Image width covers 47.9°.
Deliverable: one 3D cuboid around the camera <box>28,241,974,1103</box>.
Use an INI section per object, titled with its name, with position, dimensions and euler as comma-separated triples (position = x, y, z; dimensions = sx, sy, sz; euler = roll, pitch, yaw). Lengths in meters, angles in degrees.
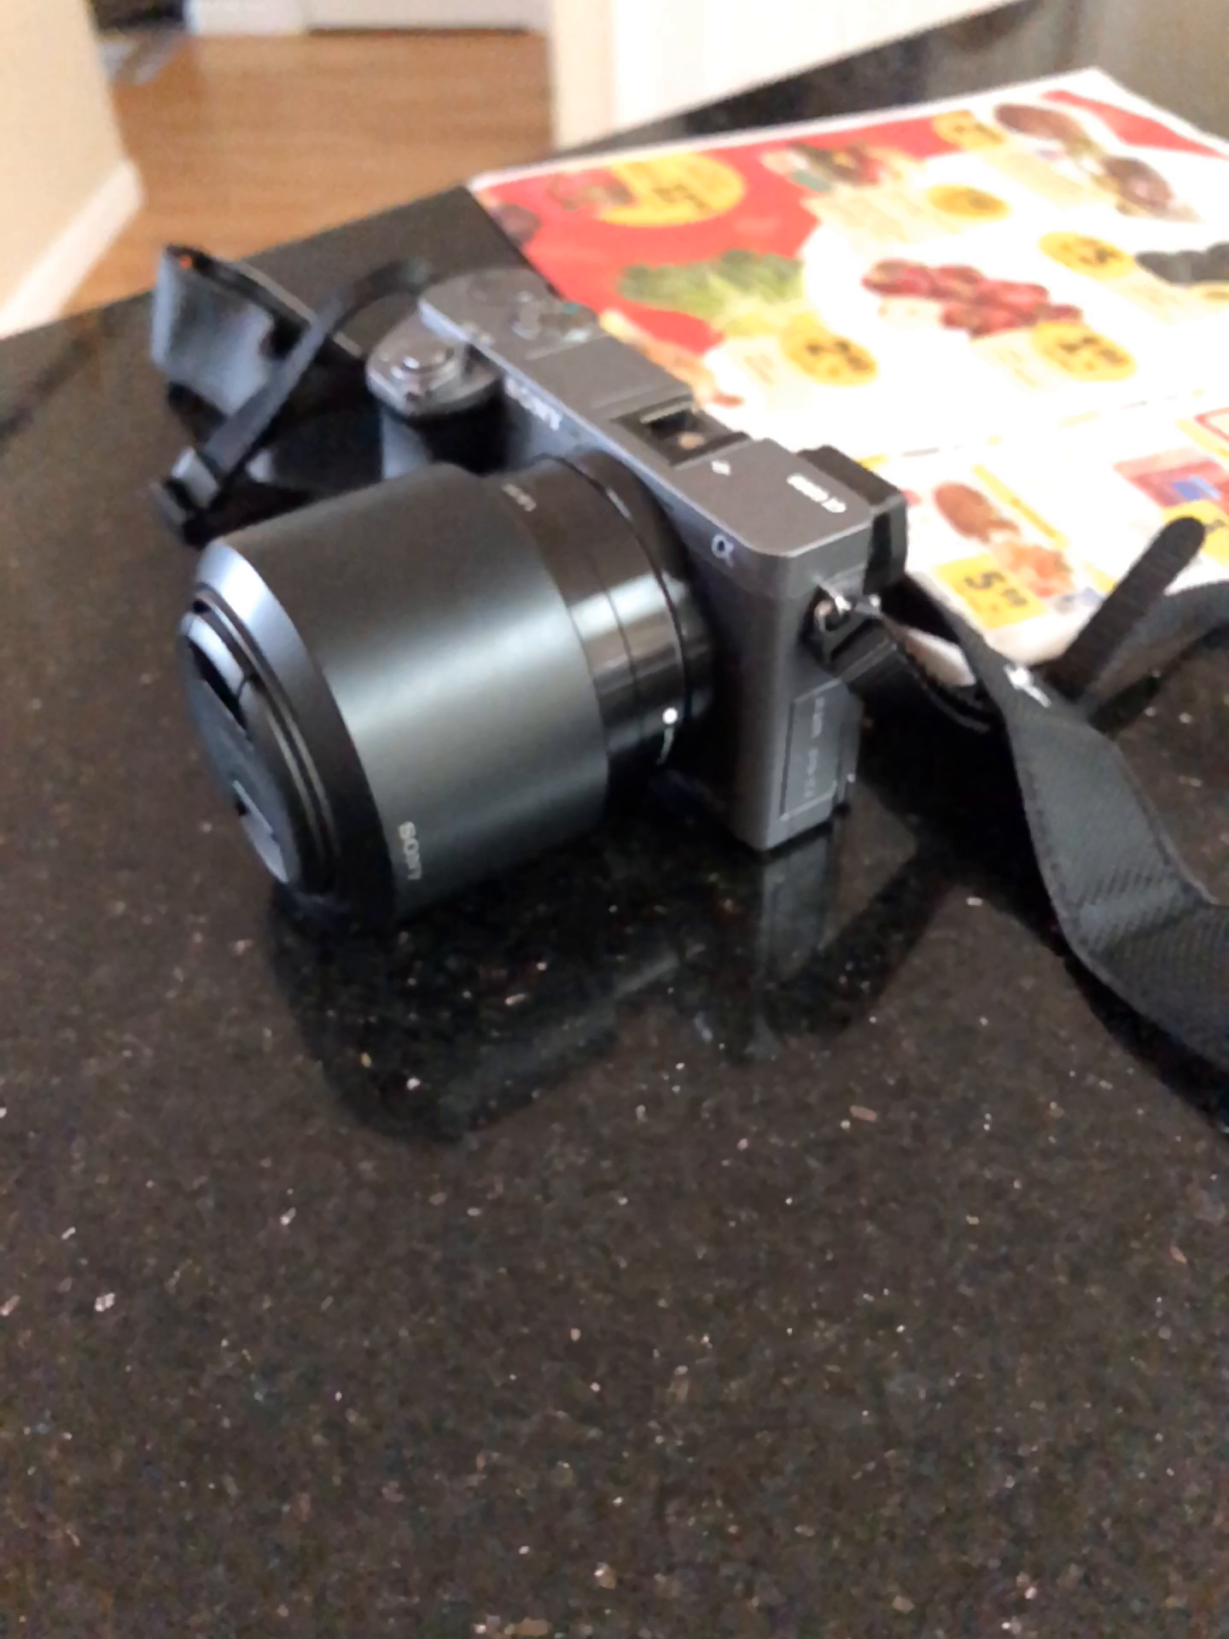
[camera]
position = -0.024, -0.039, 0.260
dimensions = 0.110, 0.070, 0.130
euler = -26, 49, -22
